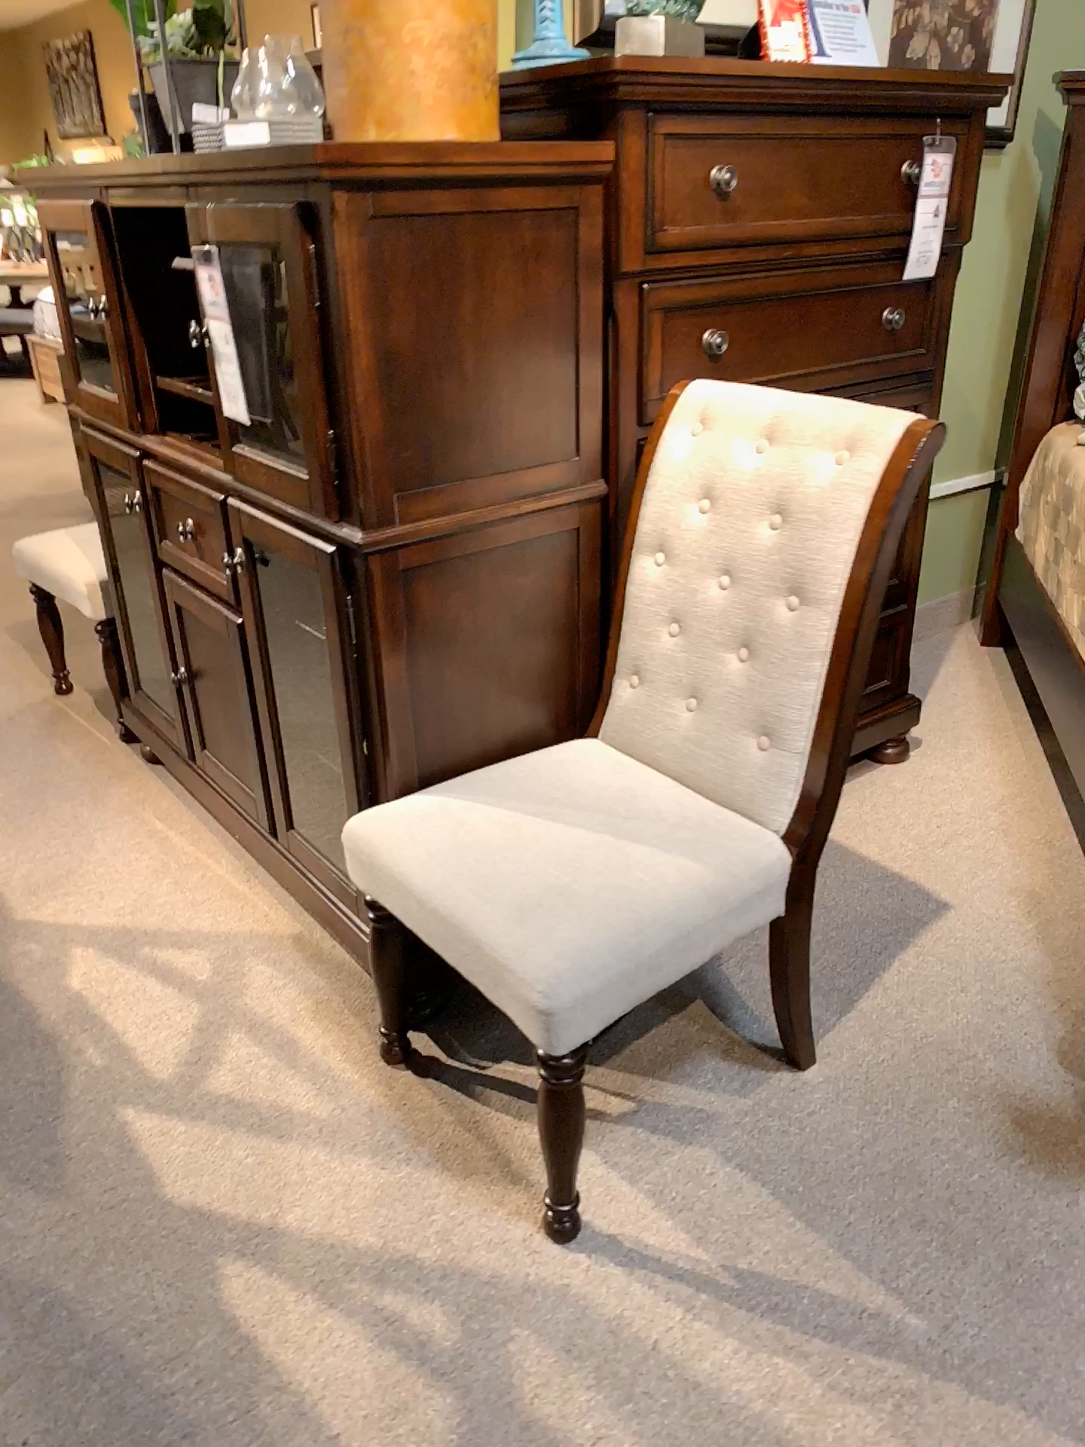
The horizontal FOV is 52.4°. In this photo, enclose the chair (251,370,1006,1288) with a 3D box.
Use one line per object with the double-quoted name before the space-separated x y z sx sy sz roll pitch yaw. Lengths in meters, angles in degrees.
"chair" 0.108 0.063 1.554 0.718 0.949 0.586 -19 31 -34
